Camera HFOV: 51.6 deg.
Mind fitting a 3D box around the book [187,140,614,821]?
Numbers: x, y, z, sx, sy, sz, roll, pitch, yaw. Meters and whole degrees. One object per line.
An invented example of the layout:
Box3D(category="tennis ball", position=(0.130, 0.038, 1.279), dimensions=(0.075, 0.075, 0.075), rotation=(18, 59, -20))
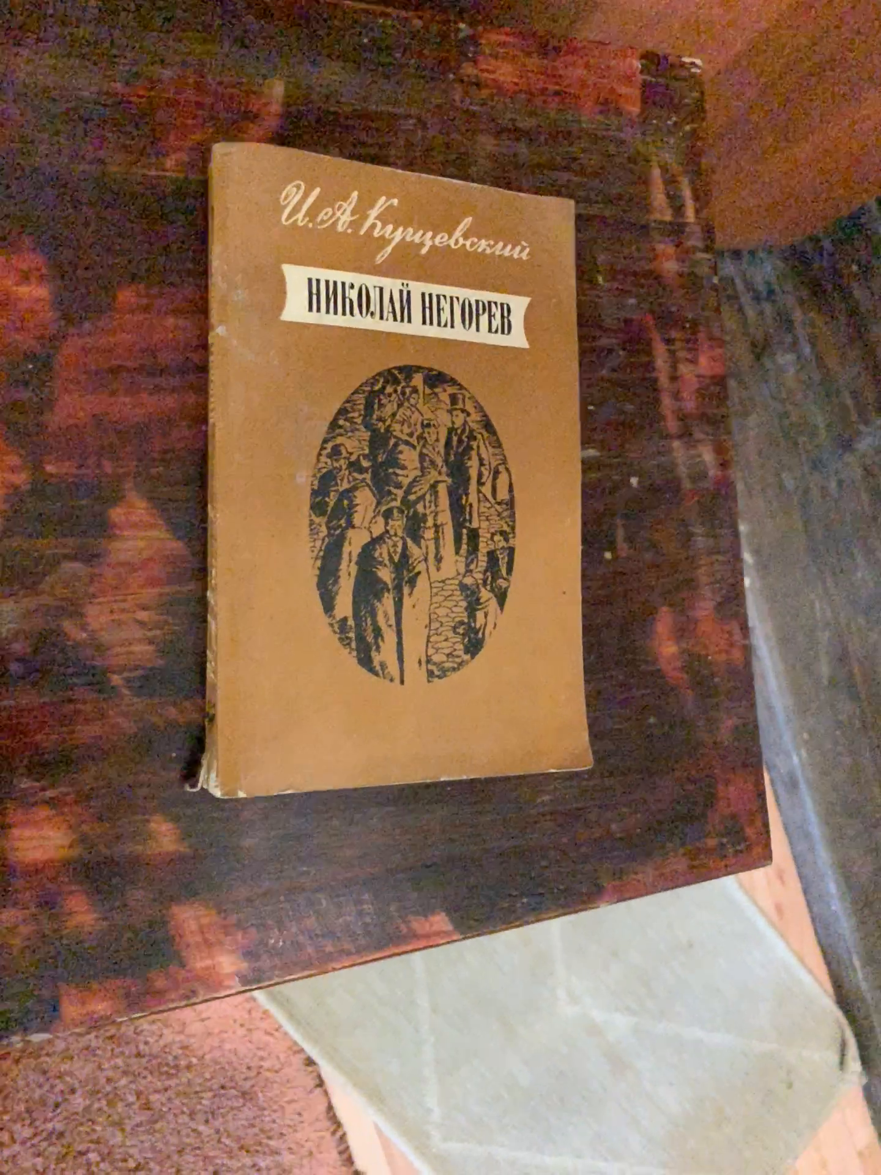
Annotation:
Box3D(category="book", position=(-0.011, -0.031, 0.287), dimensions=(0.130, 0.024, 0.190), rotation=(-1, 89, -20))
